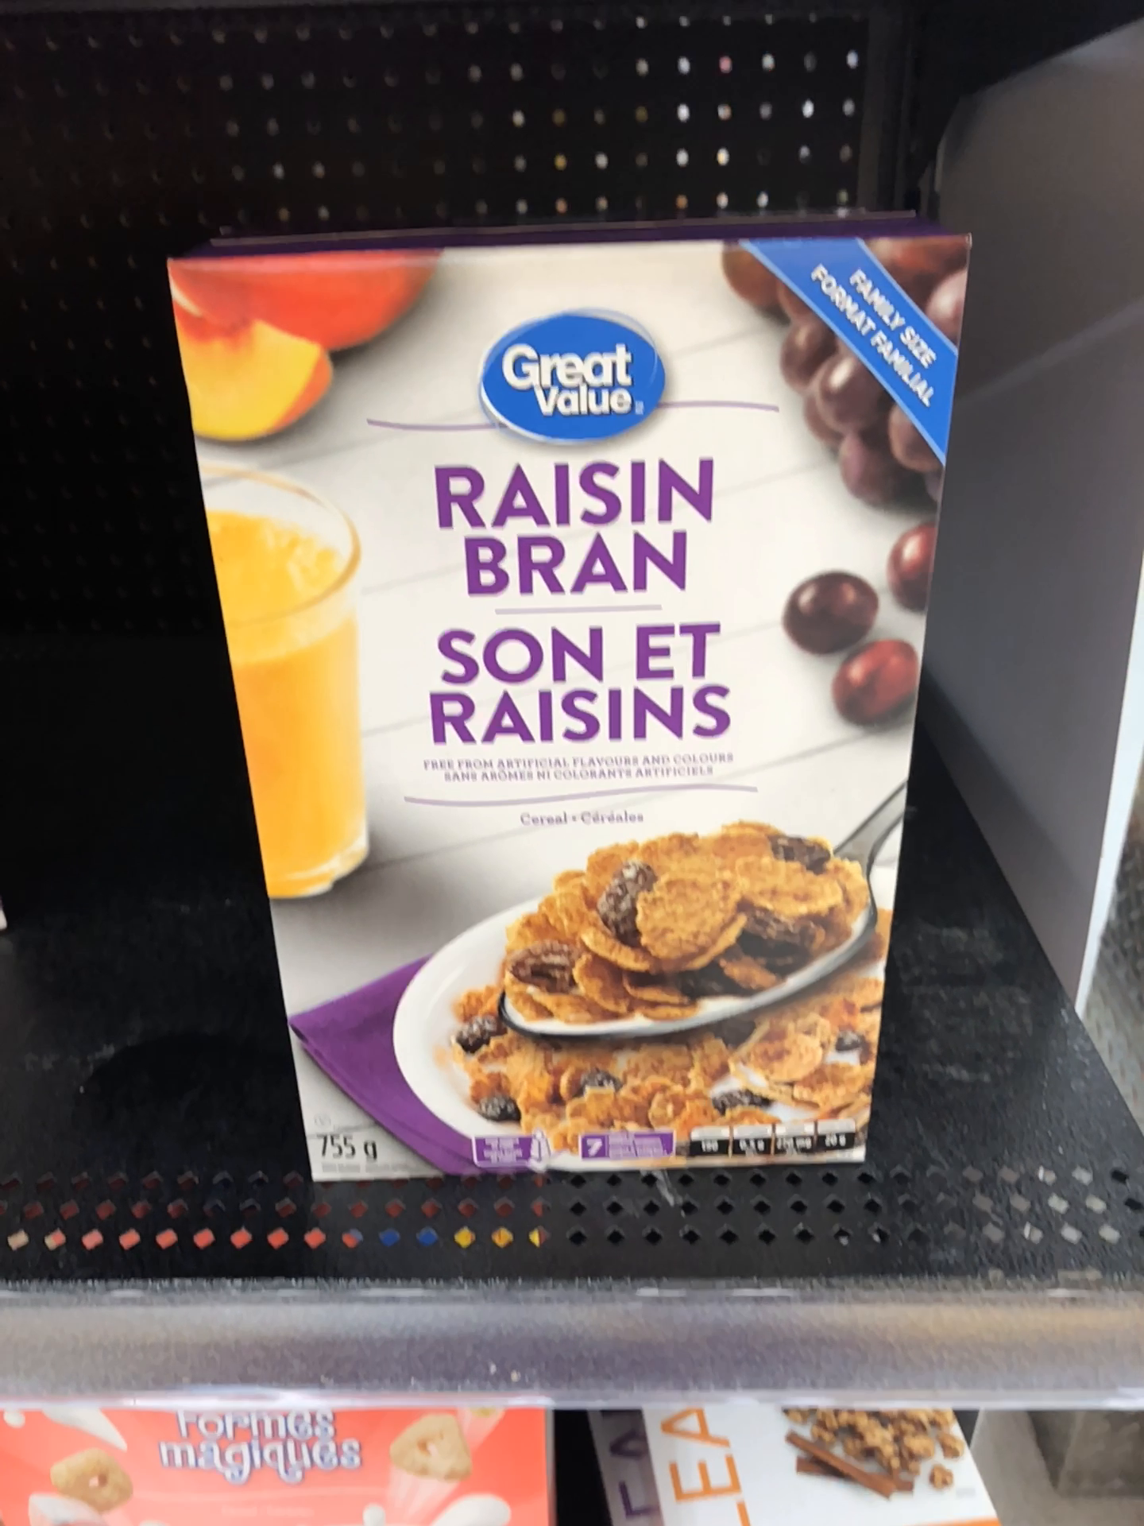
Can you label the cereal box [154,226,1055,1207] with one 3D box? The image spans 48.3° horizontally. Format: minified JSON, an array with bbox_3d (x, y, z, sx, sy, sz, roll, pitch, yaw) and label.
[{"bbox_3d":[0.009,-0.001,0.398,0.210,0.299,0.070,-2,28,-2],"label":"cereal box"}]
